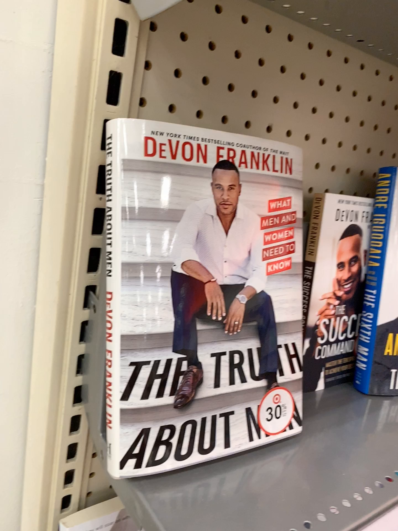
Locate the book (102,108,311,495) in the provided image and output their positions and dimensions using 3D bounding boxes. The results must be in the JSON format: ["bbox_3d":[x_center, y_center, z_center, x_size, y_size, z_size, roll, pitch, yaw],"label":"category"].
[{"bbox_3d":[0.012,0.021,0.311,0.160,0.236,0.040,0,0,-31],"label":"book"}]
